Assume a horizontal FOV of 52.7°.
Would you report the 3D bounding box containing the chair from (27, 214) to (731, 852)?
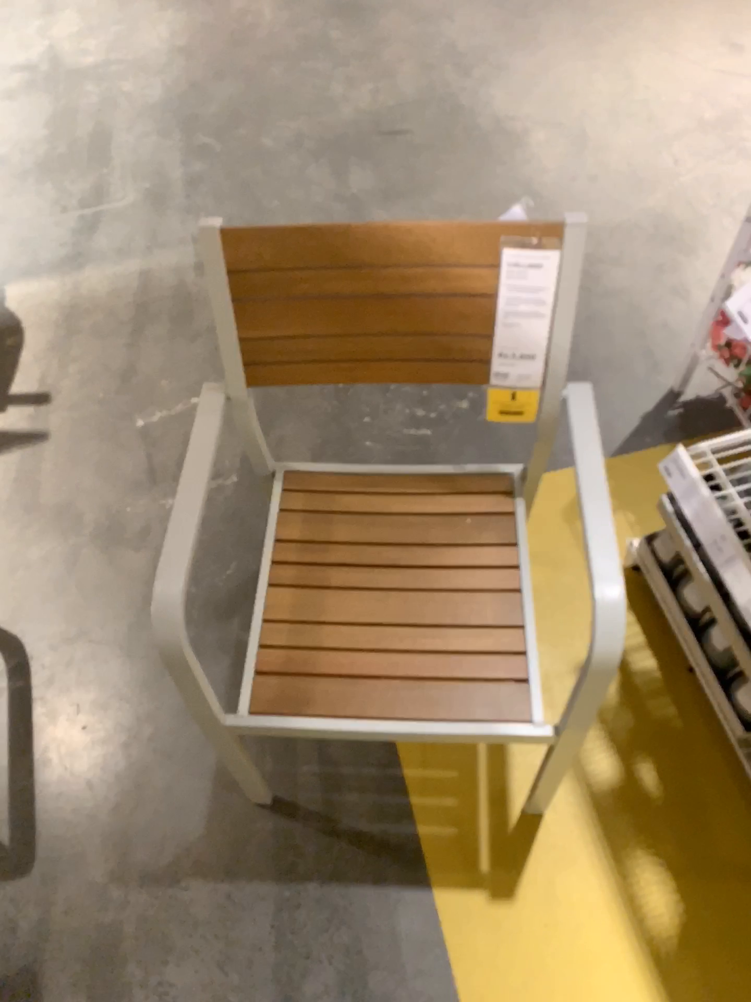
[{"bbox_3d":[0.033,0.103,1.067,0.560,0.729,0.601,1,59,5],"label":"chair"}]
